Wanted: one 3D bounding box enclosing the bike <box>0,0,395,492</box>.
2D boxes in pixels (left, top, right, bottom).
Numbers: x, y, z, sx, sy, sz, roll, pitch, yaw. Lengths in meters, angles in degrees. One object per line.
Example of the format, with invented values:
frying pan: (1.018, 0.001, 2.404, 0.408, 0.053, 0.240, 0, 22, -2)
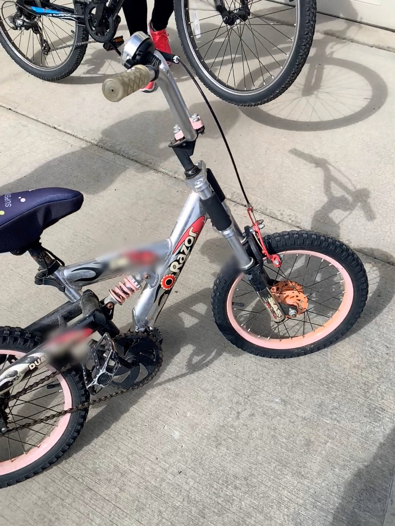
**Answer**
bike: (-0.121, -0.045, 0.854, 1.123, 0.691, 0.359, -20, 54, -19)
